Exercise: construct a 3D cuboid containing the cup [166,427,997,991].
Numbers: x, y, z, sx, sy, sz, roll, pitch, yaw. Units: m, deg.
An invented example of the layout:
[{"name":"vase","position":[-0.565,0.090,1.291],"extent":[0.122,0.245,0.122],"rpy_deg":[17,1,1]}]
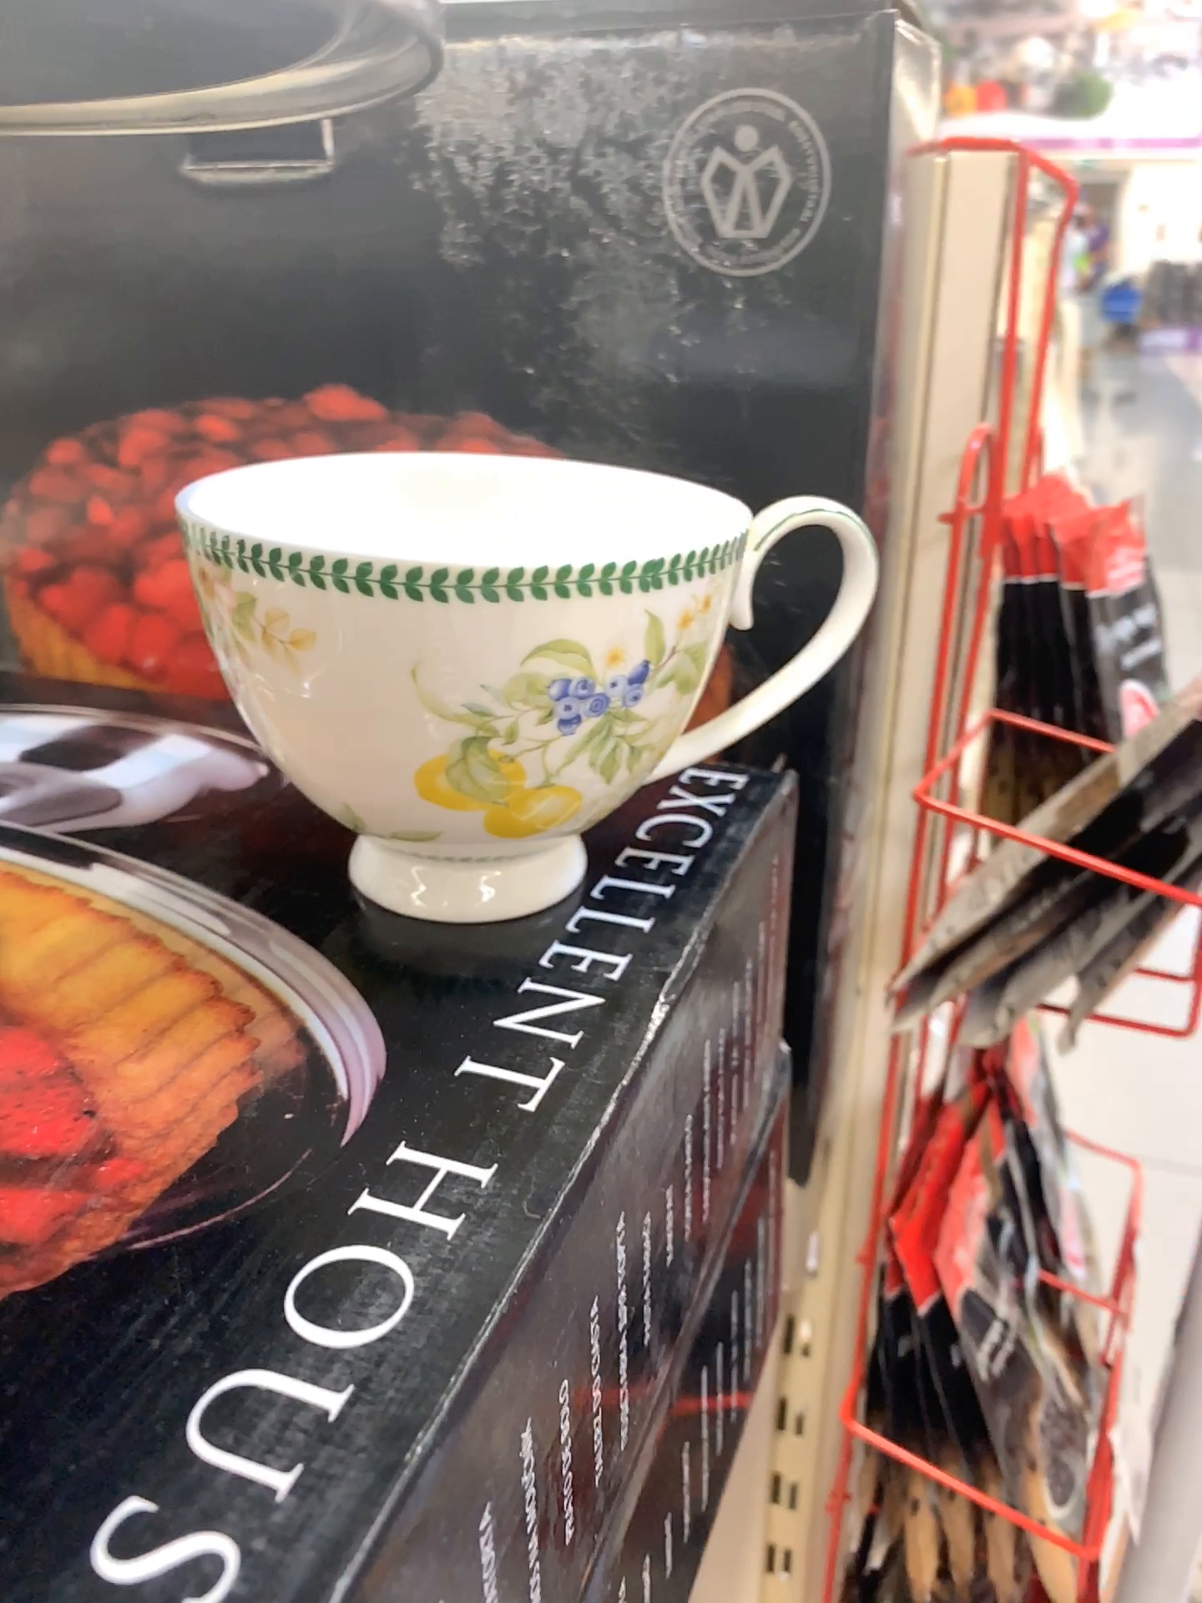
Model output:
[{"name":"cup","position":[-0.012,-0.029,0.248],"extent":[0.130,0.070,0.100],"rpy_deg":[-6,25,-15]}]
